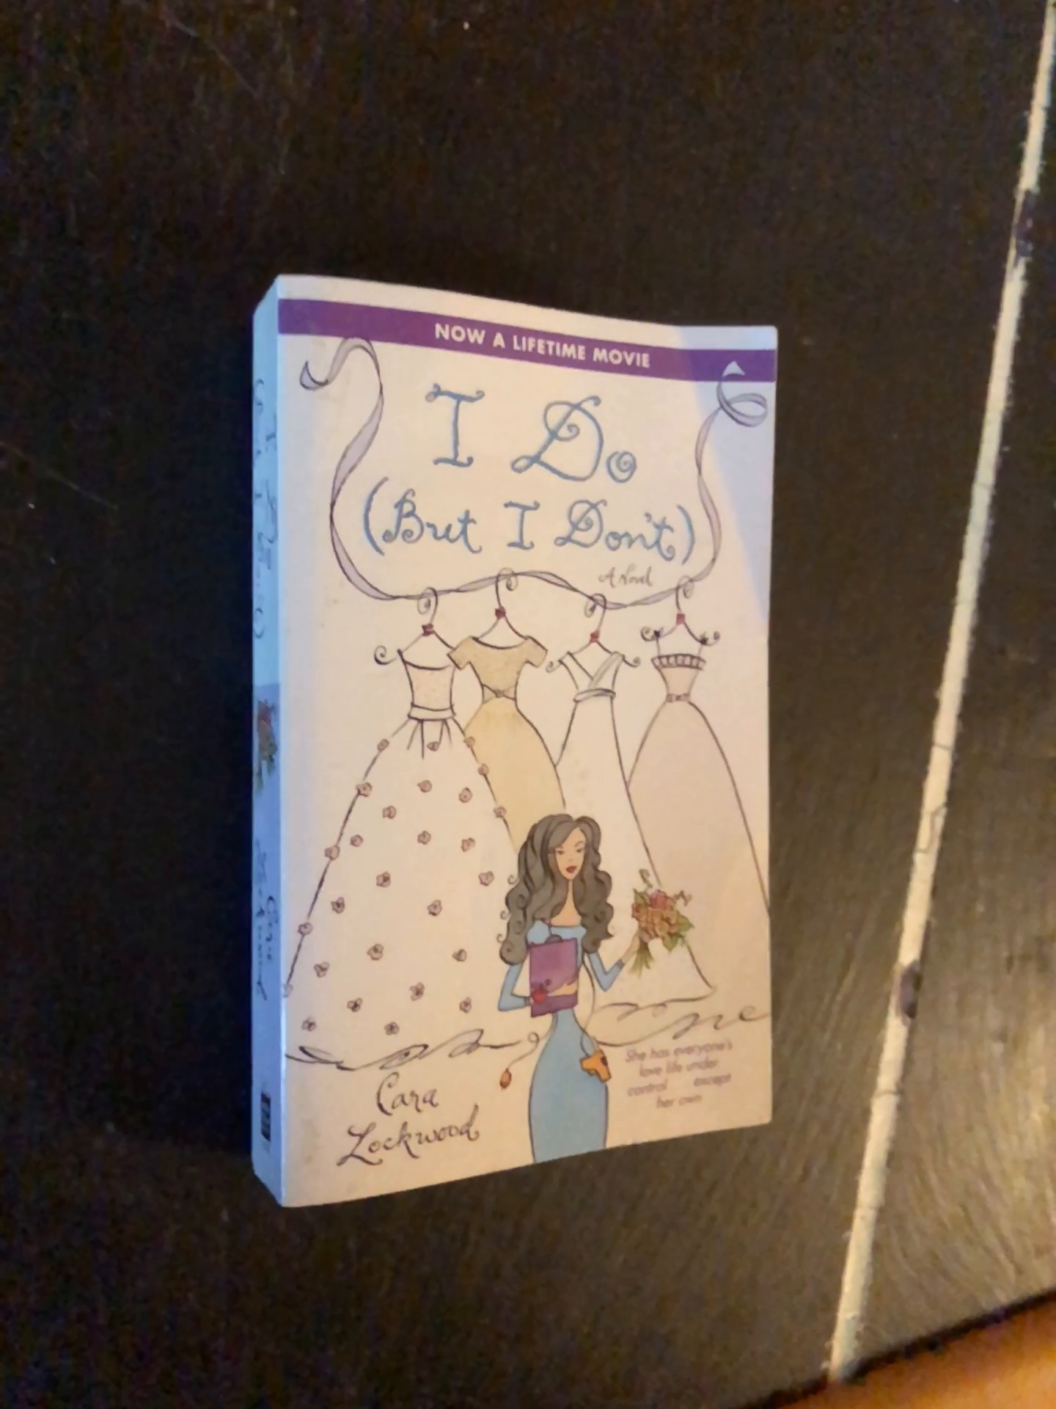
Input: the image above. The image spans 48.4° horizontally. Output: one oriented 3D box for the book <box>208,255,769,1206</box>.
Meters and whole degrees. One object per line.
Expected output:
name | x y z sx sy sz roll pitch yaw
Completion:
book | -0.006 0.004 0.241 0.111 0.032 0.164 0 89 -25
